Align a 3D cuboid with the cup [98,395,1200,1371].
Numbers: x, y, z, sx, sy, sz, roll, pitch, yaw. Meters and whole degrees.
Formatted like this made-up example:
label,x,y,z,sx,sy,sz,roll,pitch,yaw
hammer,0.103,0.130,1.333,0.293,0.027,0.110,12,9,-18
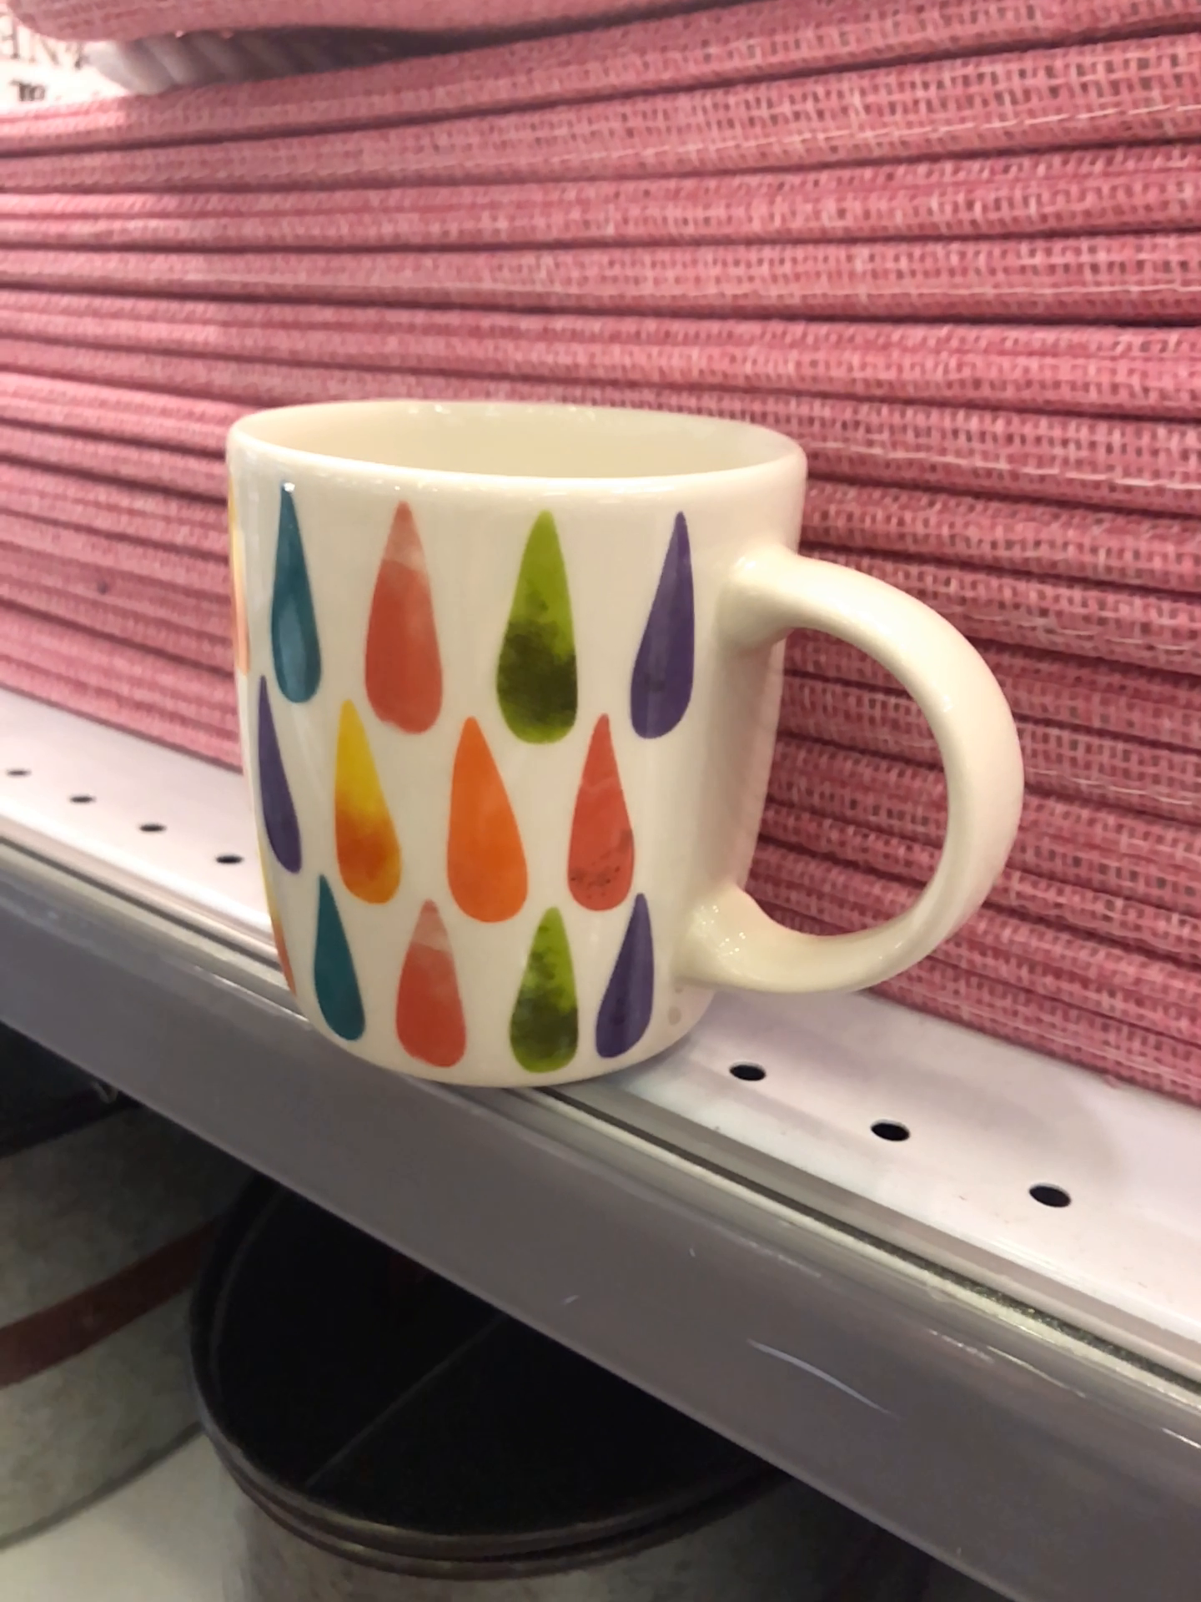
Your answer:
label,x,y,z,sx,sy,sz,roll,pitch,yaw
cup,0.007,-0.007,0.204,0.130,0.089,0.090,17,25,30
